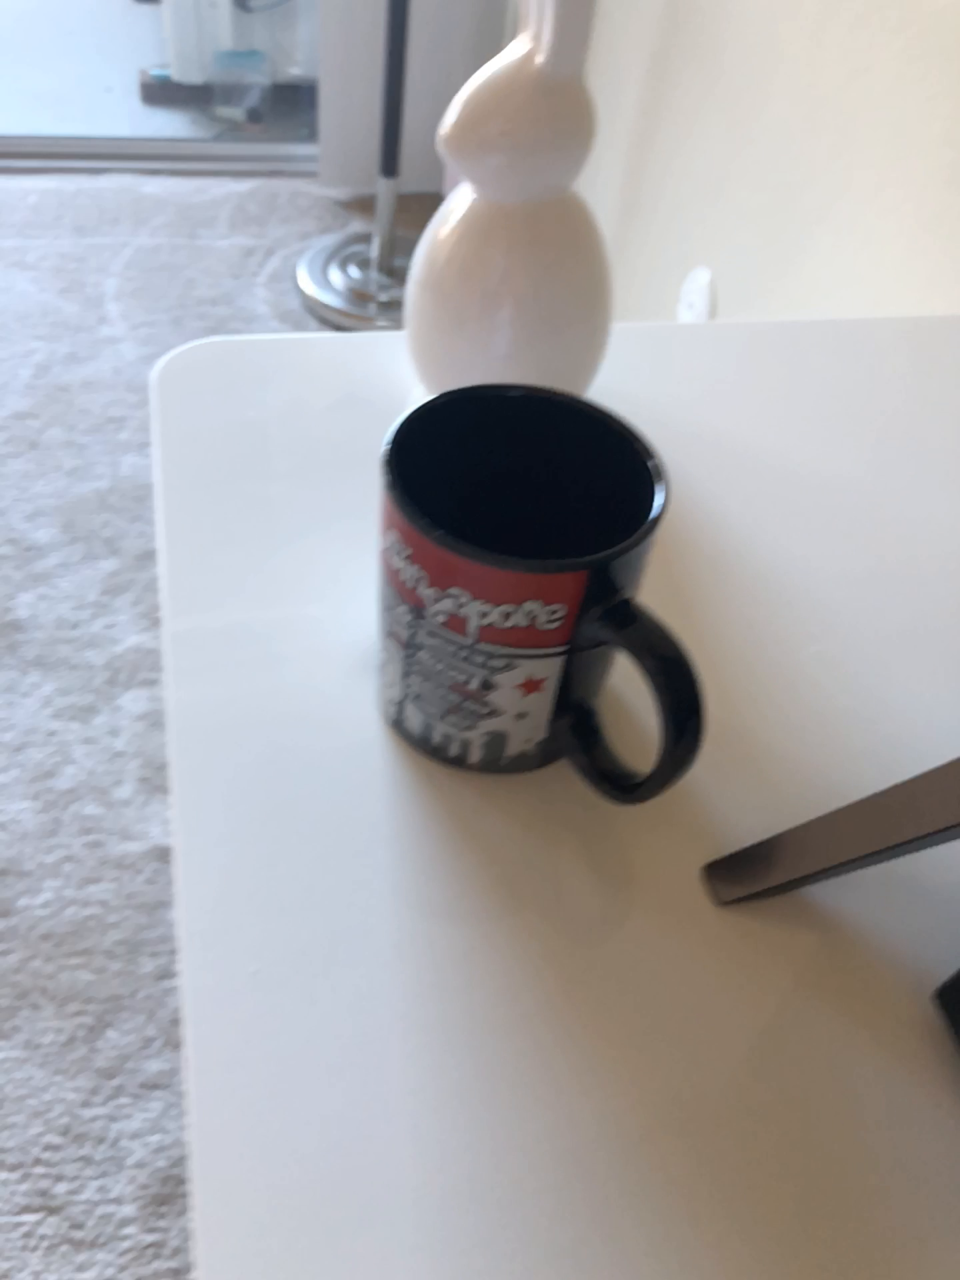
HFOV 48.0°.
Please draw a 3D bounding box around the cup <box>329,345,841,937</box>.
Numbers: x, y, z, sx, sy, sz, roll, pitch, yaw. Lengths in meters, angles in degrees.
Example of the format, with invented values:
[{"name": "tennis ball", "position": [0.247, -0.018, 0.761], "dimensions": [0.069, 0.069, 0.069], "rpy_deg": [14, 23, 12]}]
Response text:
[{"name": "cup", "position": [0.020, -0.002, 0.329], "dimensions": [0.080, 0.110, 0.120], "rpy_deg": [-23, 55, -27]}]
